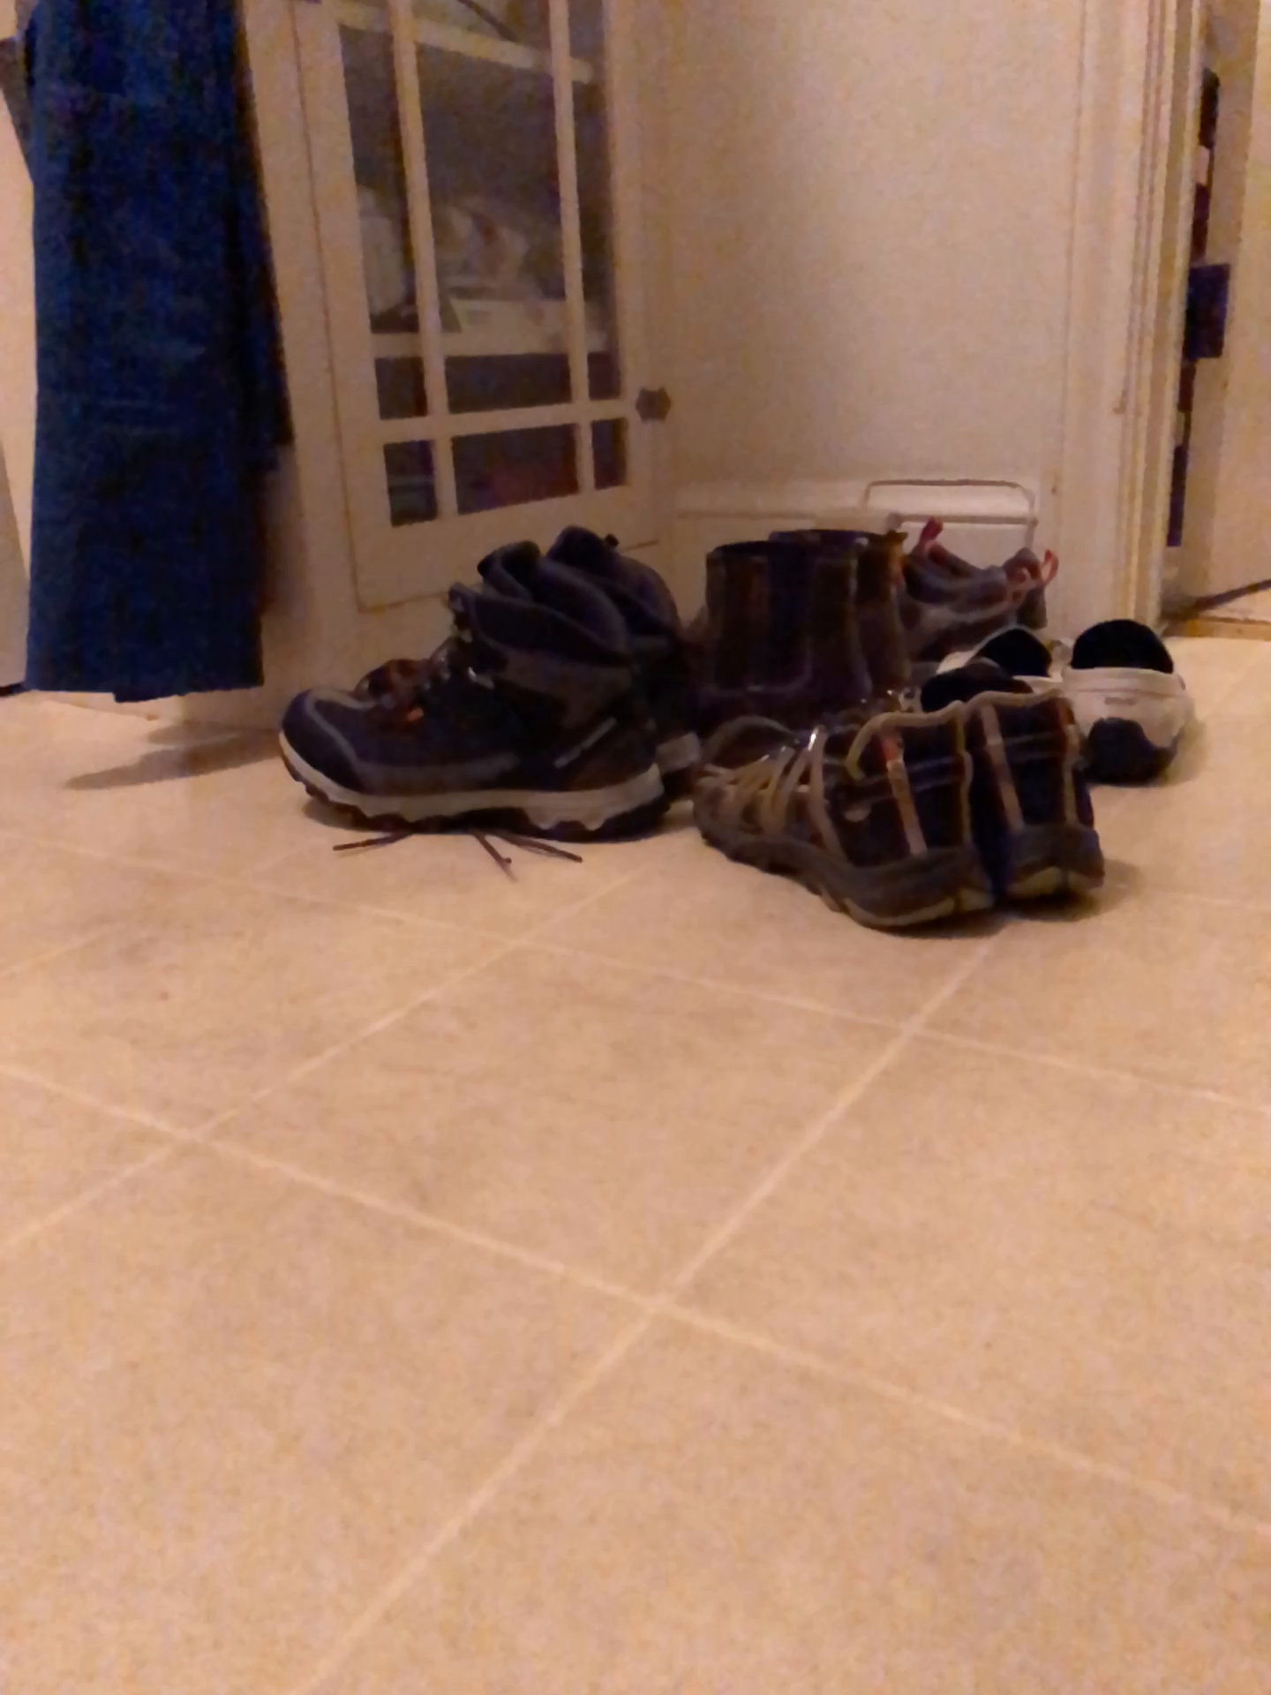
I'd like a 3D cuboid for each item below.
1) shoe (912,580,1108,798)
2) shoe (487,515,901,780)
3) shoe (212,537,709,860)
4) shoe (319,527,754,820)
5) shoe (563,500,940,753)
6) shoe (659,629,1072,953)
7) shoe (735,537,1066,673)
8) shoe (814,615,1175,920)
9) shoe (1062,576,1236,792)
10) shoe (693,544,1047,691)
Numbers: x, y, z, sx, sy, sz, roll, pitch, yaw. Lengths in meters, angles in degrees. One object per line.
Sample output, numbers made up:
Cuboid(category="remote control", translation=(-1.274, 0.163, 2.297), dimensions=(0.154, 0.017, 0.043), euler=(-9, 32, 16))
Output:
Cuboid(category="shoe", translation=(0.292, -0.138, 1.131), dimensions=(0.110, 0.113, 0.304), euler=(0, 18, 7))
Cuboid(category="shoe", translation=(0.050, -0.176, 1.177), dimensions=(0.323, 0.192, 0.111), euler=(6, 20, 25))
Cuboid(category="shoe", translation=(-0.121, -0.115, 0.986), dimensions=(0.323, 0.192, 0.111), euler=(6, 20, 23))
Cuboid(category="shoe", translation=(-0.079, -0.147, 1.098), dimensions=(0.323, 0.192, 0.111), euler=(8, 21, 29))
Cuboid(category="shoe", translation=(0.101, -0.210, 1.264), dimensions=(0.323, 0.192, 0.110), euler=(10, 22, 35))
Cuboid(category="shoe", translation=(0.128, -0.051, 0.878), dimensions=(0.110, 0.123, 0.294), euler=(-10, 20, -22))
Cuboid(category="shoe", translation=(0.270, -0.255, 1.438), dimensions=(0.313, 0.113, 0.111), euler=(7, 20, 28))
Cuboid(category="shoe", translation=(0.219, -0.067, 0.924), dimensions=(0.110, 0.123, 0.294), euler=(-6, 19, -11))
Cuboid(category="shoe", translation=(0.409, -0.144, 1.137), dimensions=(0.110, 0.113, 0.304), euler=(3, 19, 16))
Cuboid(category="shoe", translation=(0.222, -0.227, 1.343), dimensions=(0.313, 0.113, 0.111), euler=(7, 20, 28))
